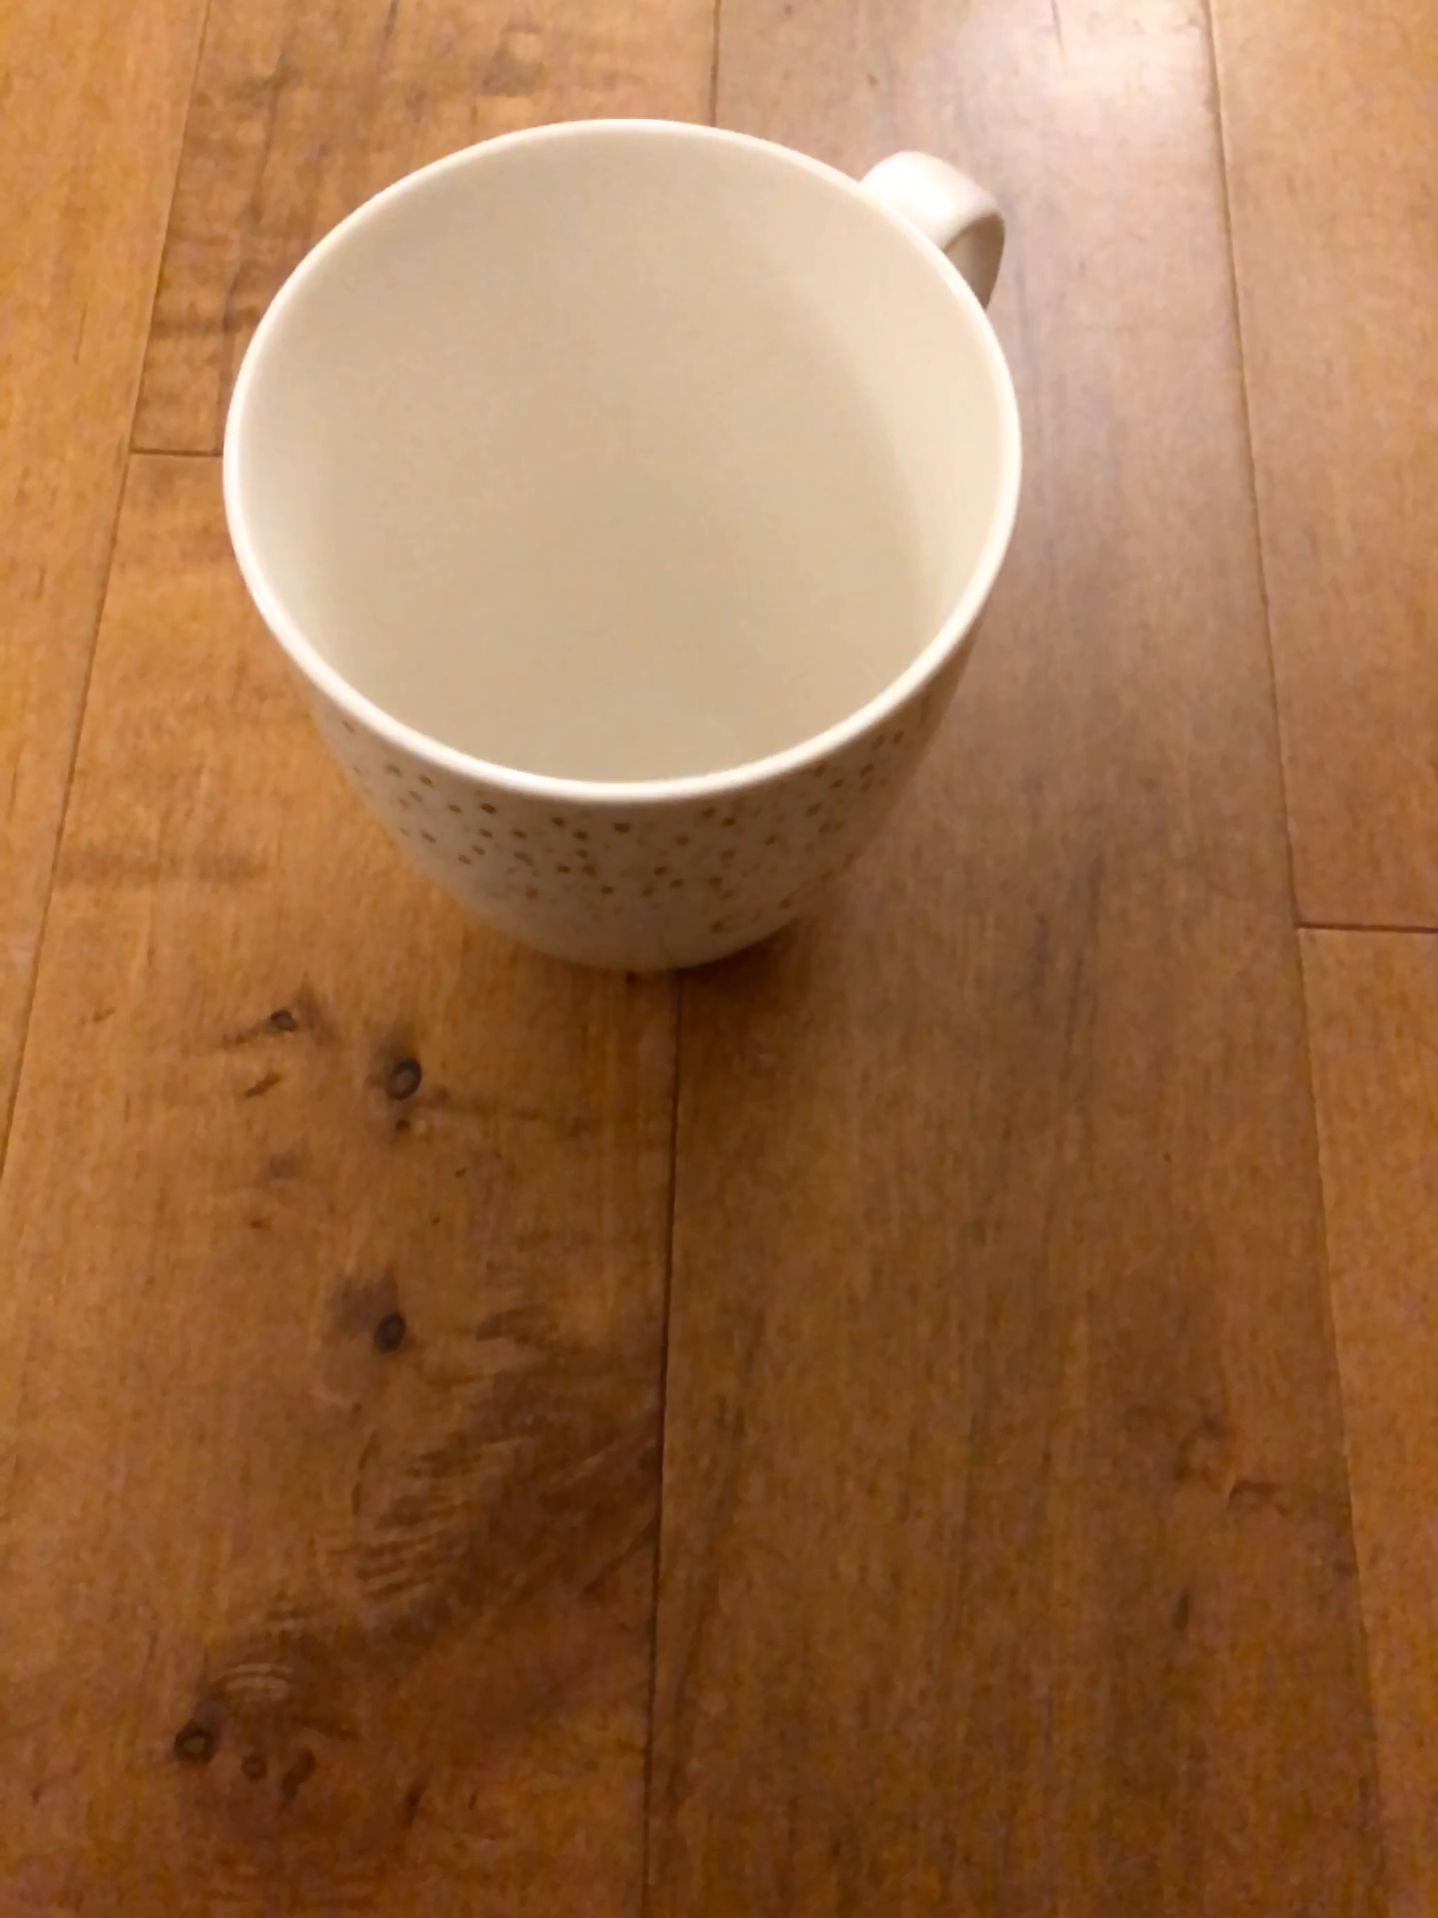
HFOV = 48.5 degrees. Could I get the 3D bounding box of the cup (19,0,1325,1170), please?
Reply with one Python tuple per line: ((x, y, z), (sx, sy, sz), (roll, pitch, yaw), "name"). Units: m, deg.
((-0.004, -0.065, 0.261), (0.110, 0.110, 0.140), (35, 73, 9), "cup")
